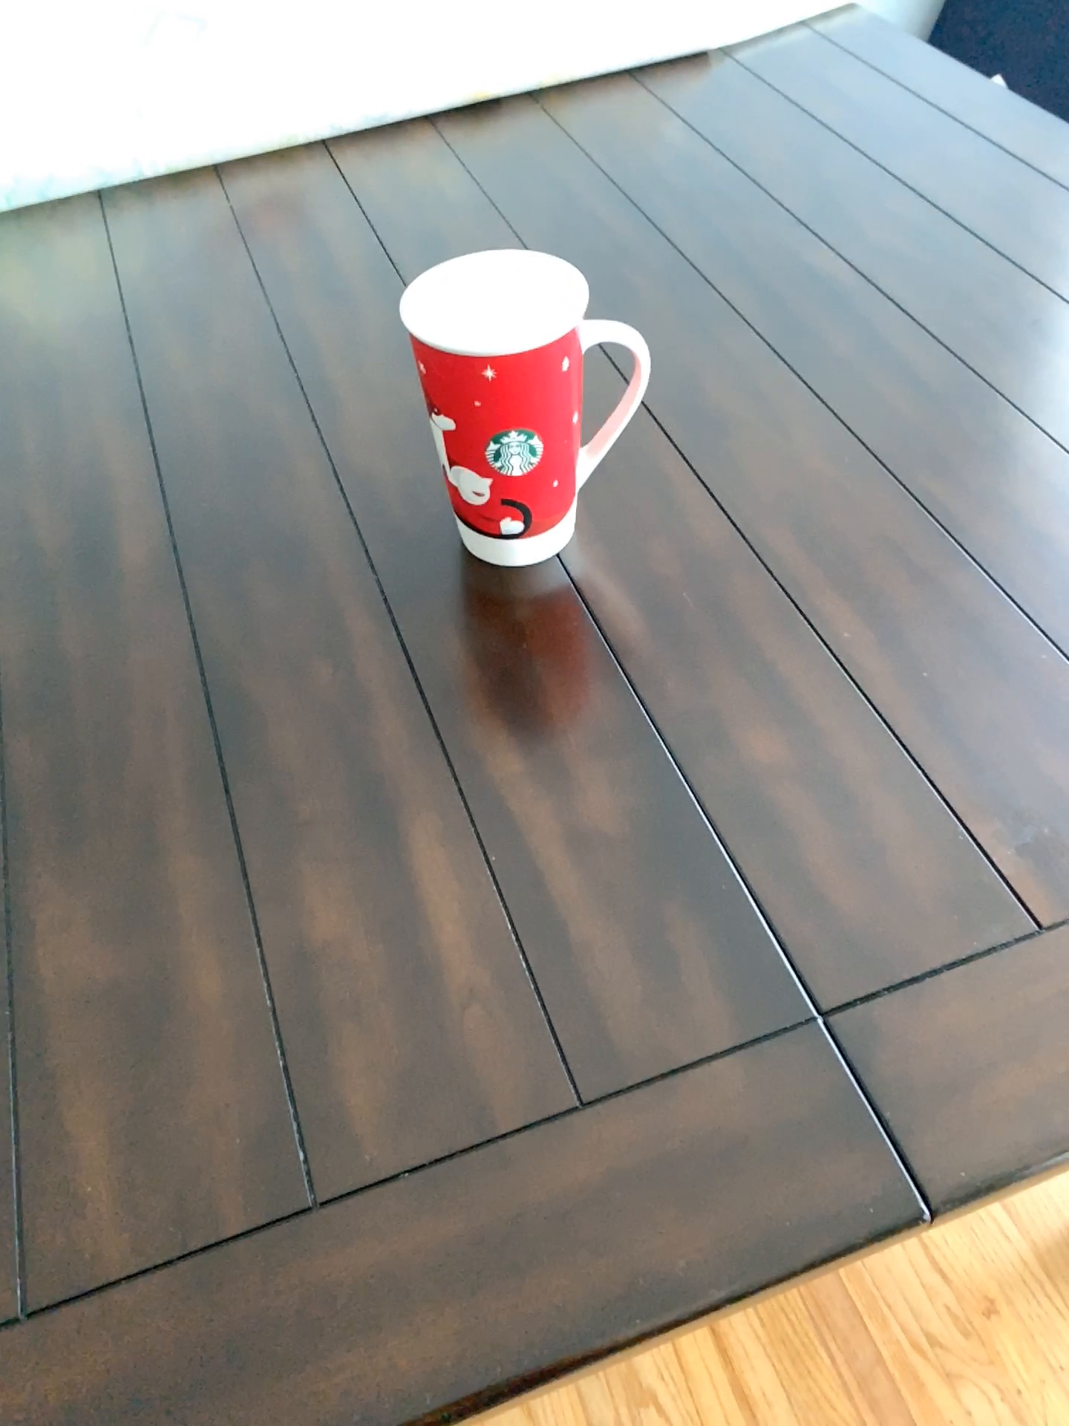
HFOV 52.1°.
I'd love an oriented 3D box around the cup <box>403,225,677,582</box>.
[{"bbox_3d":[0.004,-0.153,0.561,0.120,0.149,0.080,-4,50,1],"label":"cup"}]
